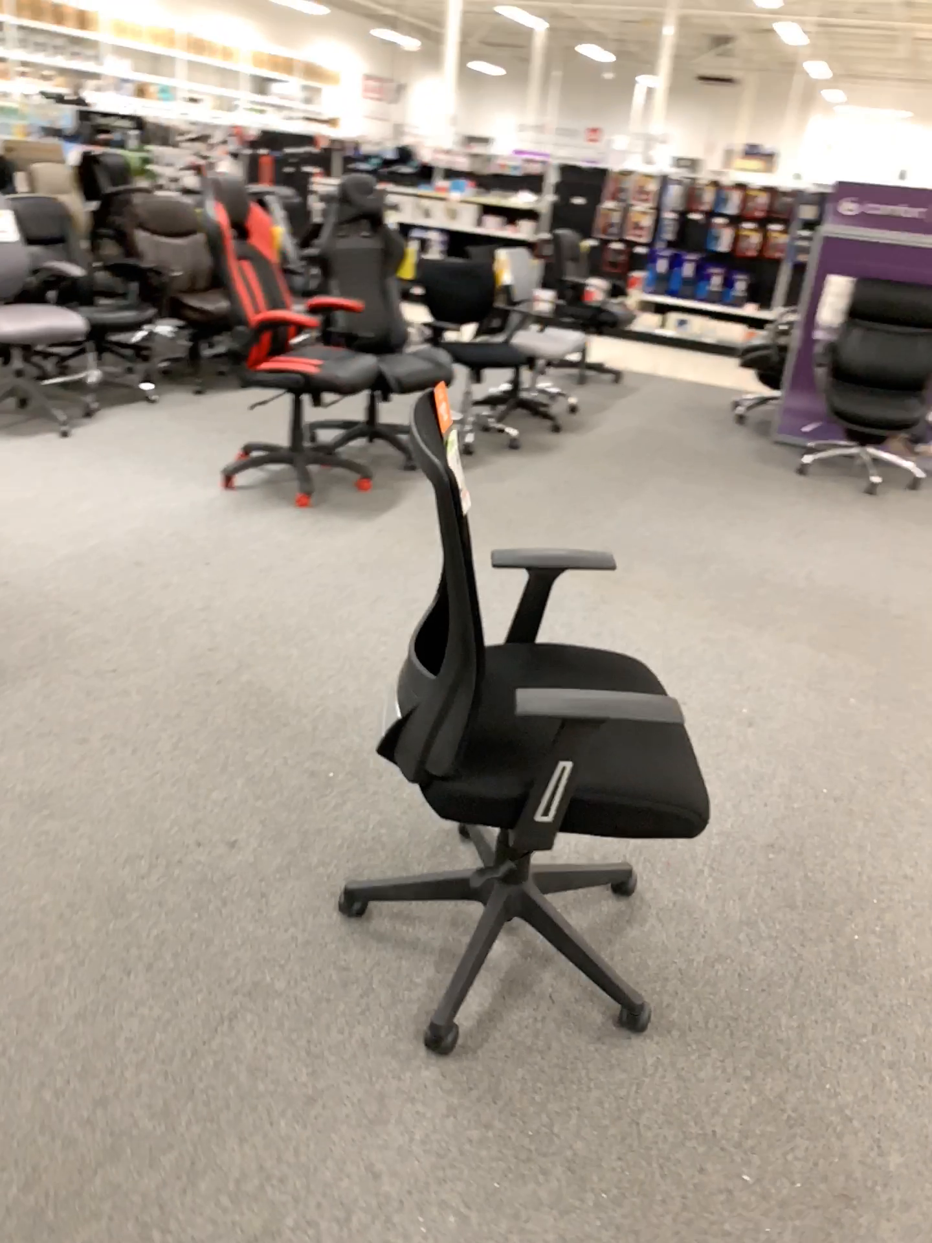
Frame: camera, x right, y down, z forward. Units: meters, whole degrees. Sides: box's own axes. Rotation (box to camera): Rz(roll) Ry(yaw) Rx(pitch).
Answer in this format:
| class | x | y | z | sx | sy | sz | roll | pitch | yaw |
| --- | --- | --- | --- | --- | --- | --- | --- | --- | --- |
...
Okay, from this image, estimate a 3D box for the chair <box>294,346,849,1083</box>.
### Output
| class | x | y | z | sx | sy | sz | roll | pitch | yaw |
| --- | --- | --- | --- | --- | --- | --- | --- | --- | --- |
| chair | 0.104 | 0.124 | 1.658 | 0.640 | 0.995 | 0.673 | 6 | 25 | 0 |
